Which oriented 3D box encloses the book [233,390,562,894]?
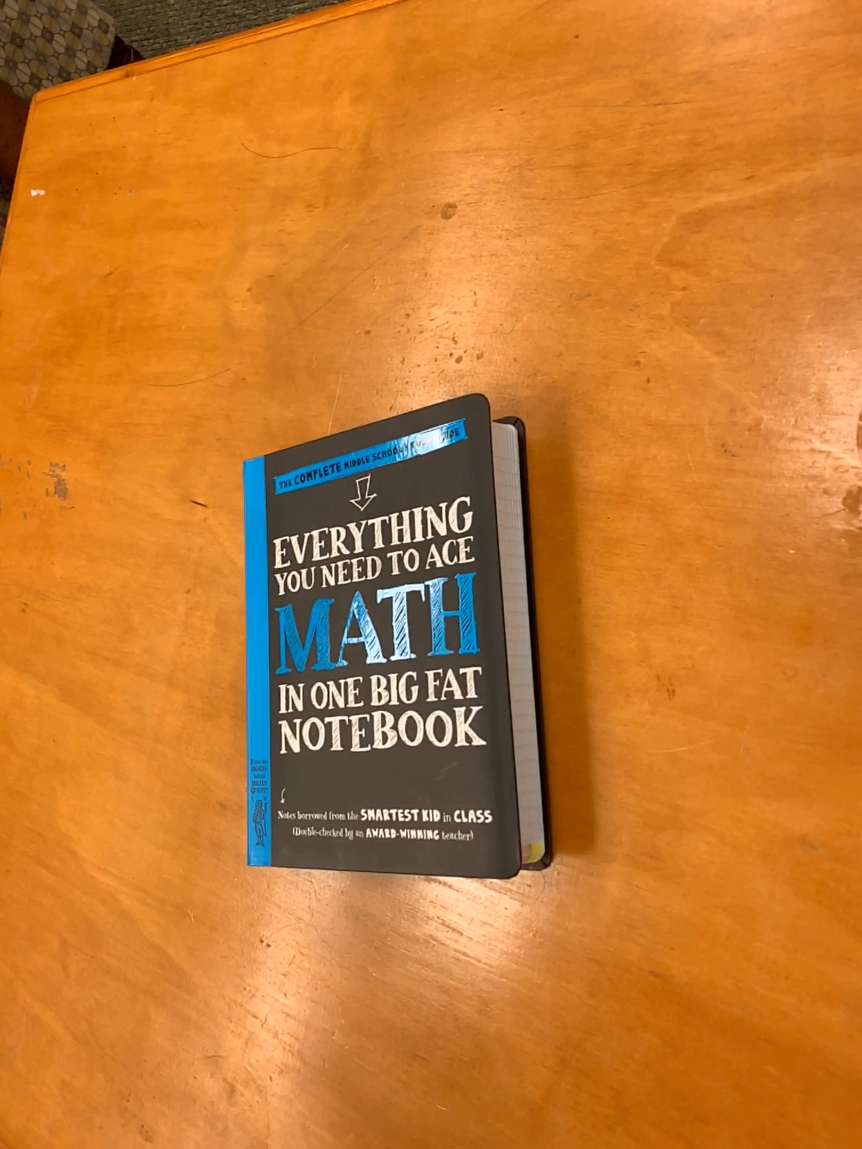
[{"bbox_3d":[-0.025,0.036,0.427,0.161,0.040,0.210,-9,78,34],"label":"book"}]
